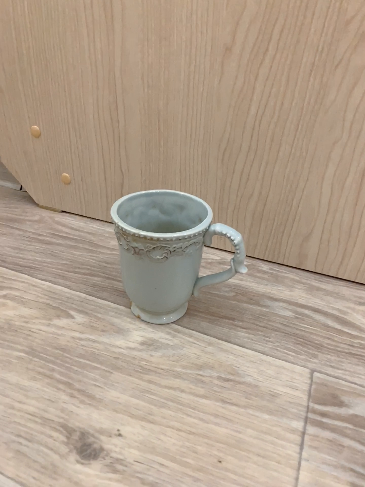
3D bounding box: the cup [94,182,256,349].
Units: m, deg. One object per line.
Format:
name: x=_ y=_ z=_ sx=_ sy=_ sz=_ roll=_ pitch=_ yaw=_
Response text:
cup: x=-0.004 y=0.015 z=0.343 sx=0.118 sy=0.102 sz=0.083 roll=11 pitch=32 yaw=12
